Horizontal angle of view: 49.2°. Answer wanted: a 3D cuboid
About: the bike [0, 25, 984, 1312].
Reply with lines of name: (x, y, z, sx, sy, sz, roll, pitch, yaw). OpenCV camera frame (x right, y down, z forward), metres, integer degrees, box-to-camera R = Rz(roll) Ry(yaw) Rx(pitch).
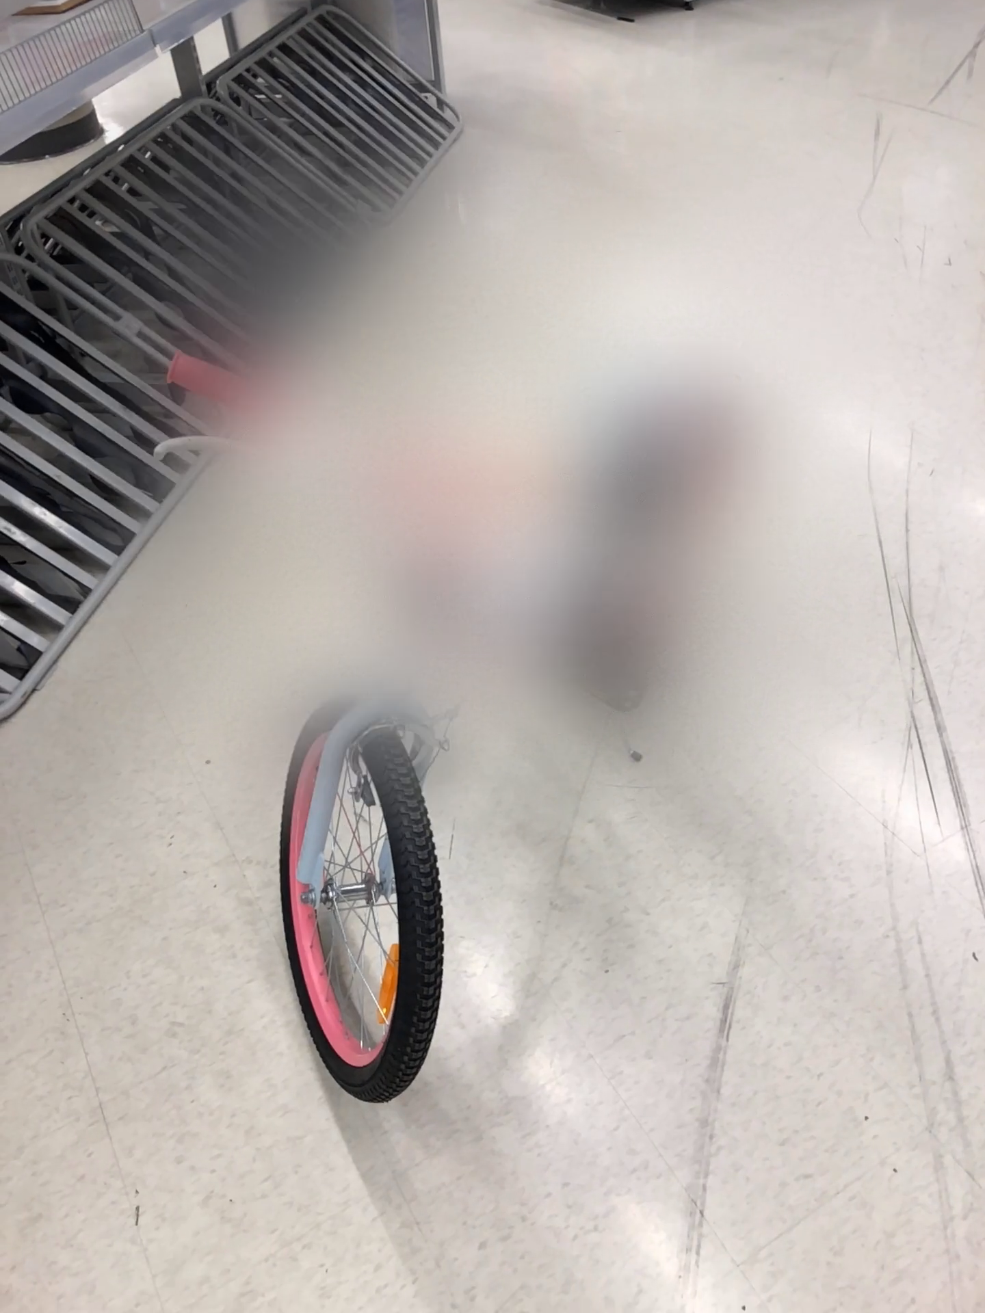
bike: (0.165, -0.104, 1.437, 0.632, 0.961, 1.257, 15, 47, 22)
